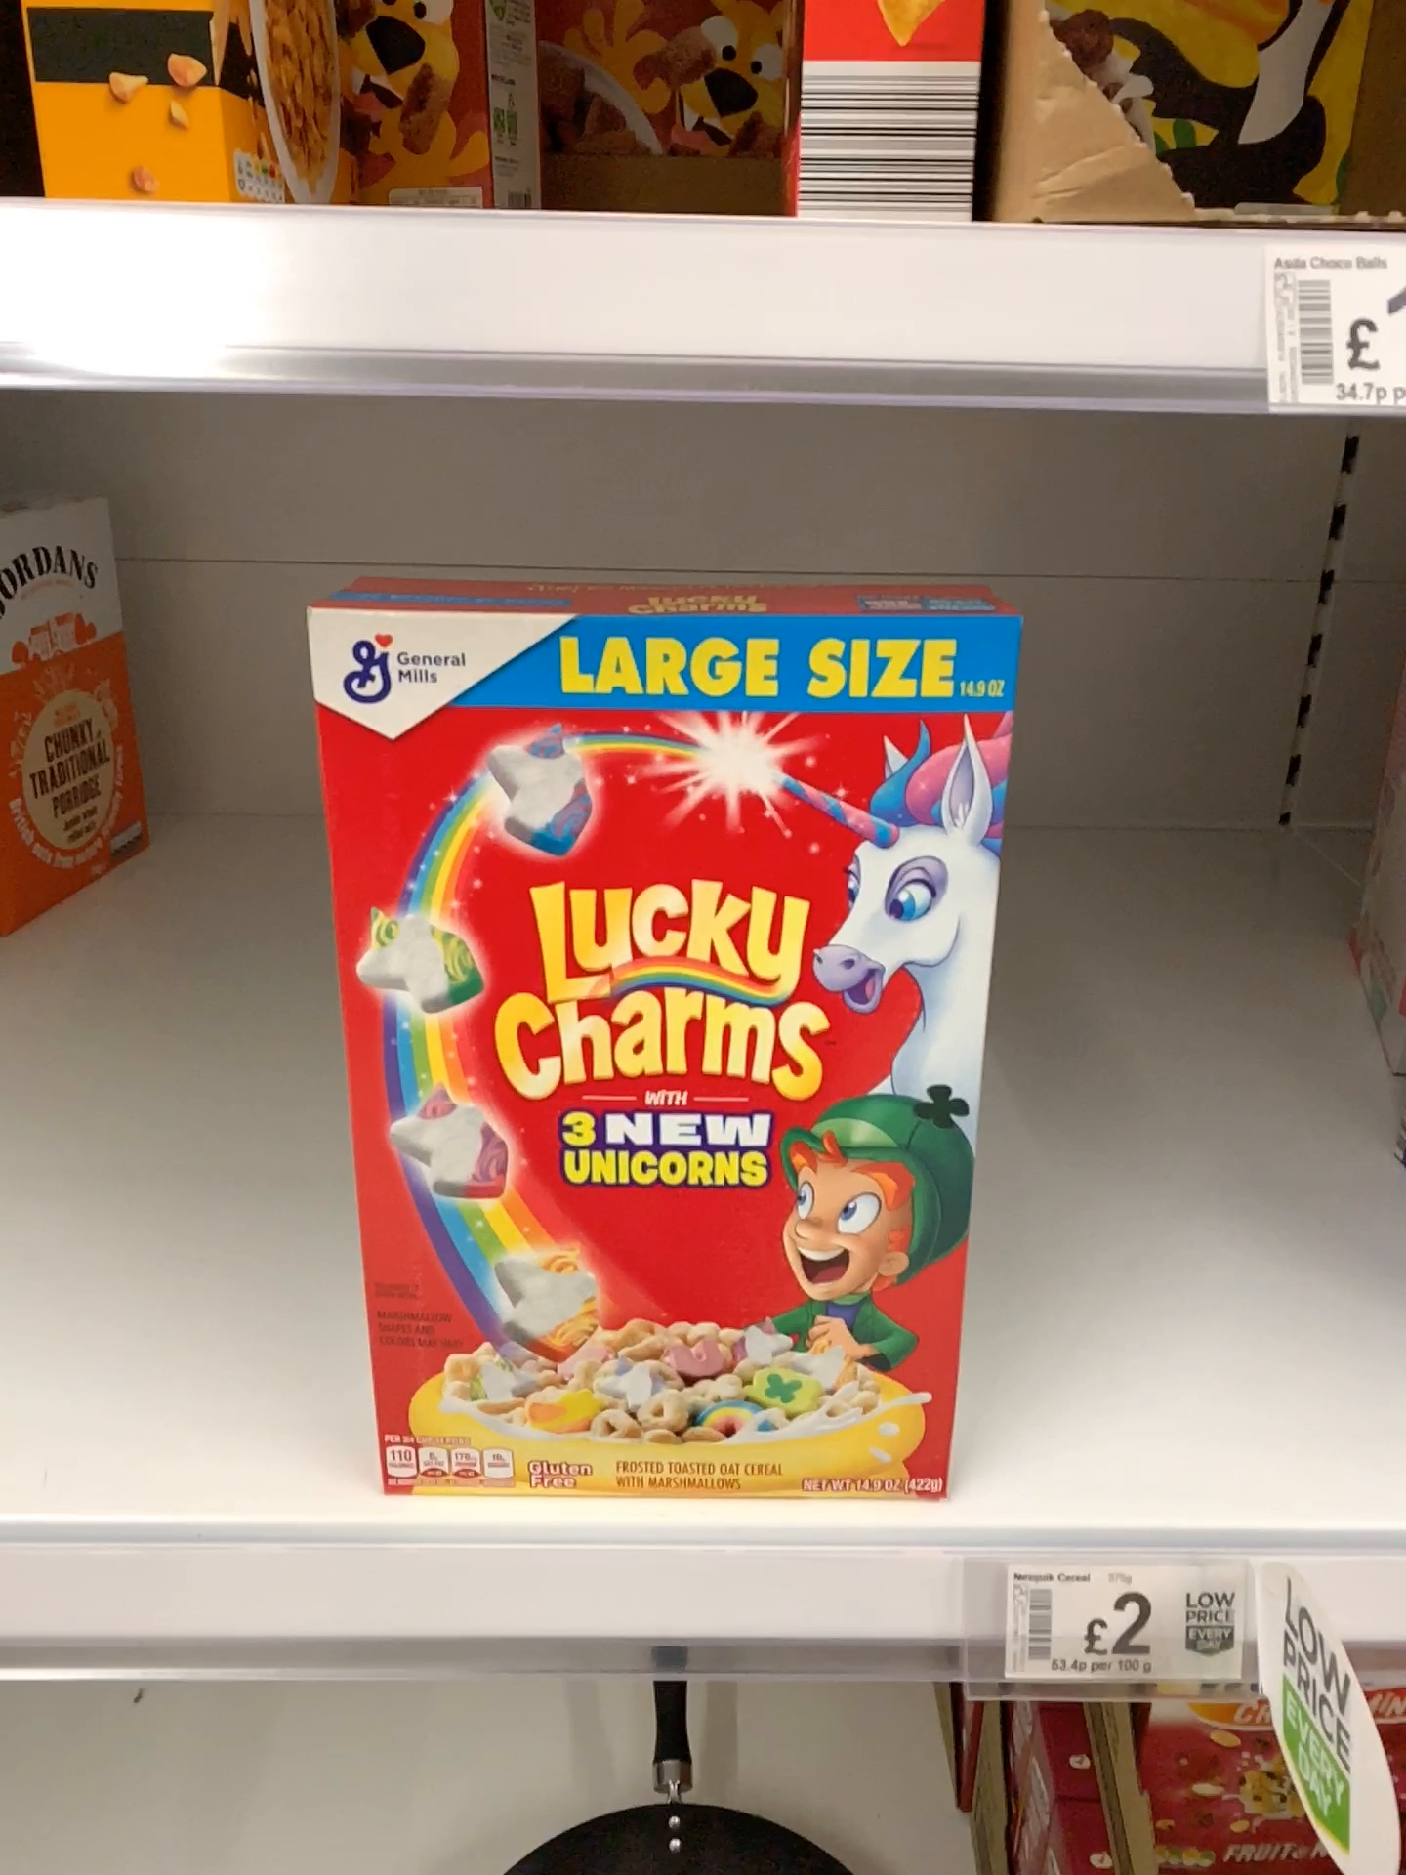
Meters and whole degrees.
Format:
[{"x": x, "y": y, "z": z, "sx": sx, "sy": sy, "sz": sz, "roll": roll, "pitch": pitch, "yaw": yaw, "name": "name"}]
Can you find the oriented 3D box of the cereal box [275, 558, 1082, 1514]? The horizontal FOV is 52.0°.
[{"x": -0.009, "y": 0.039, "z": 0.460, "sx": 0.210, "sy": 0.298, "sz": 0.071, "roll": 1, "pitch": 20, "yaw": -1, "name": "cereal box"}]
